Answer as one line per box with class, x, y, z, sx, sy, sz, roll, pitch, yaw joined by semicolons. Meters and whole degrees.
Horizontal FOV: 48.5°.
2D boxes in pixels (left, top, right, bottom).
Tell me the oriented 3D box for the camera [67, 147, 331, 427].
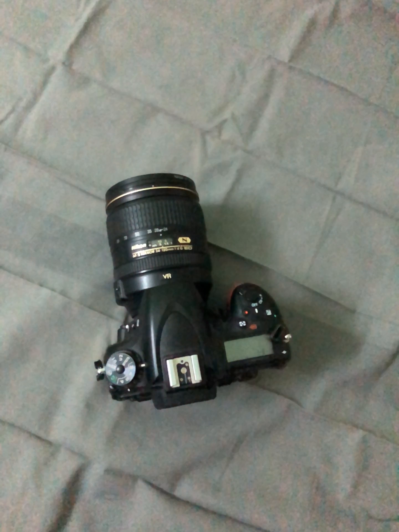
camera;-0.009;0.019;0.351;0.146;0.135;0.164;-8;79;-8
